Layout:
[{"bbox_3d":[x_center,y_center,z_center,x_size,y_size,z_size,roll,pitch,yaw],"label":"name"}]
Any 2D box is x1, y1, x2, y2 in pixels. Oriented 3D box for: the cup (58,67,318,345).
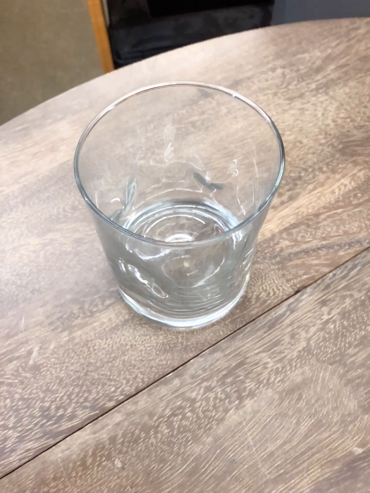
[{"bbox_3d":[-0.001,-0.012,0.196,0.084,0.098,0.084,-1,61,1],"label":"cup"}]
